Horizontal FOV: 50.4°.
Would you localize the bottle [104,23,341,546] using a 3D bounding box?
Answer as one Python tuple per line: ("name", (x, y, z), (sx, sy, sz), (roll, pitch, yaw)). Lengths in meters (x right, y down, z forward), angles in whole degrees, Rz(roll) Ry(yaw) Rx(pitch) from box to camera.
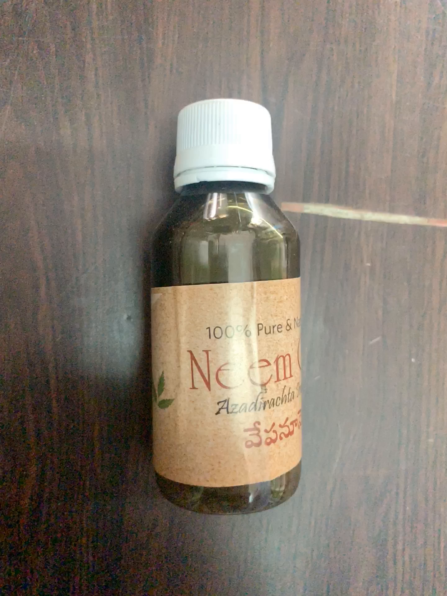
("bottle", (0.000, -0.003, 0.140), (0.050, 0.040, 0.120), (-4, 92, -35))
